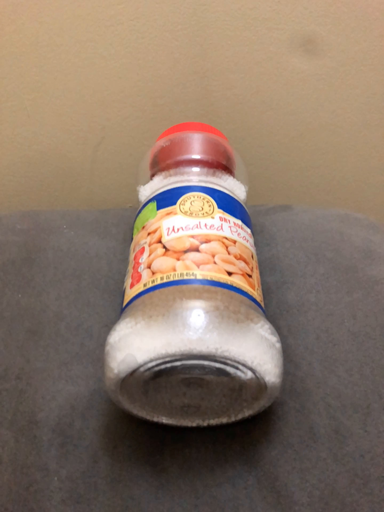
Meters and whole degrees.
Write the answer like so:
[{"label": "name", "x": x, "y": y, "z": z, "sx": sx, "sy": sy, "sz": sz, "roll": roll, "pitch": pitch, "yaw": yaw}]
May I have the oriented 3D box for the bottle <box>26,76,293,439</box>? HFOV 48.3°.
[{"label": "bottle", "x": -0.006, "y": -0.019, "z": 0.262, "sx": 0.095, "sy": 0.090, "sz": 0.221, "roll": -4, "pitch": 43, "yaw": 5}]
